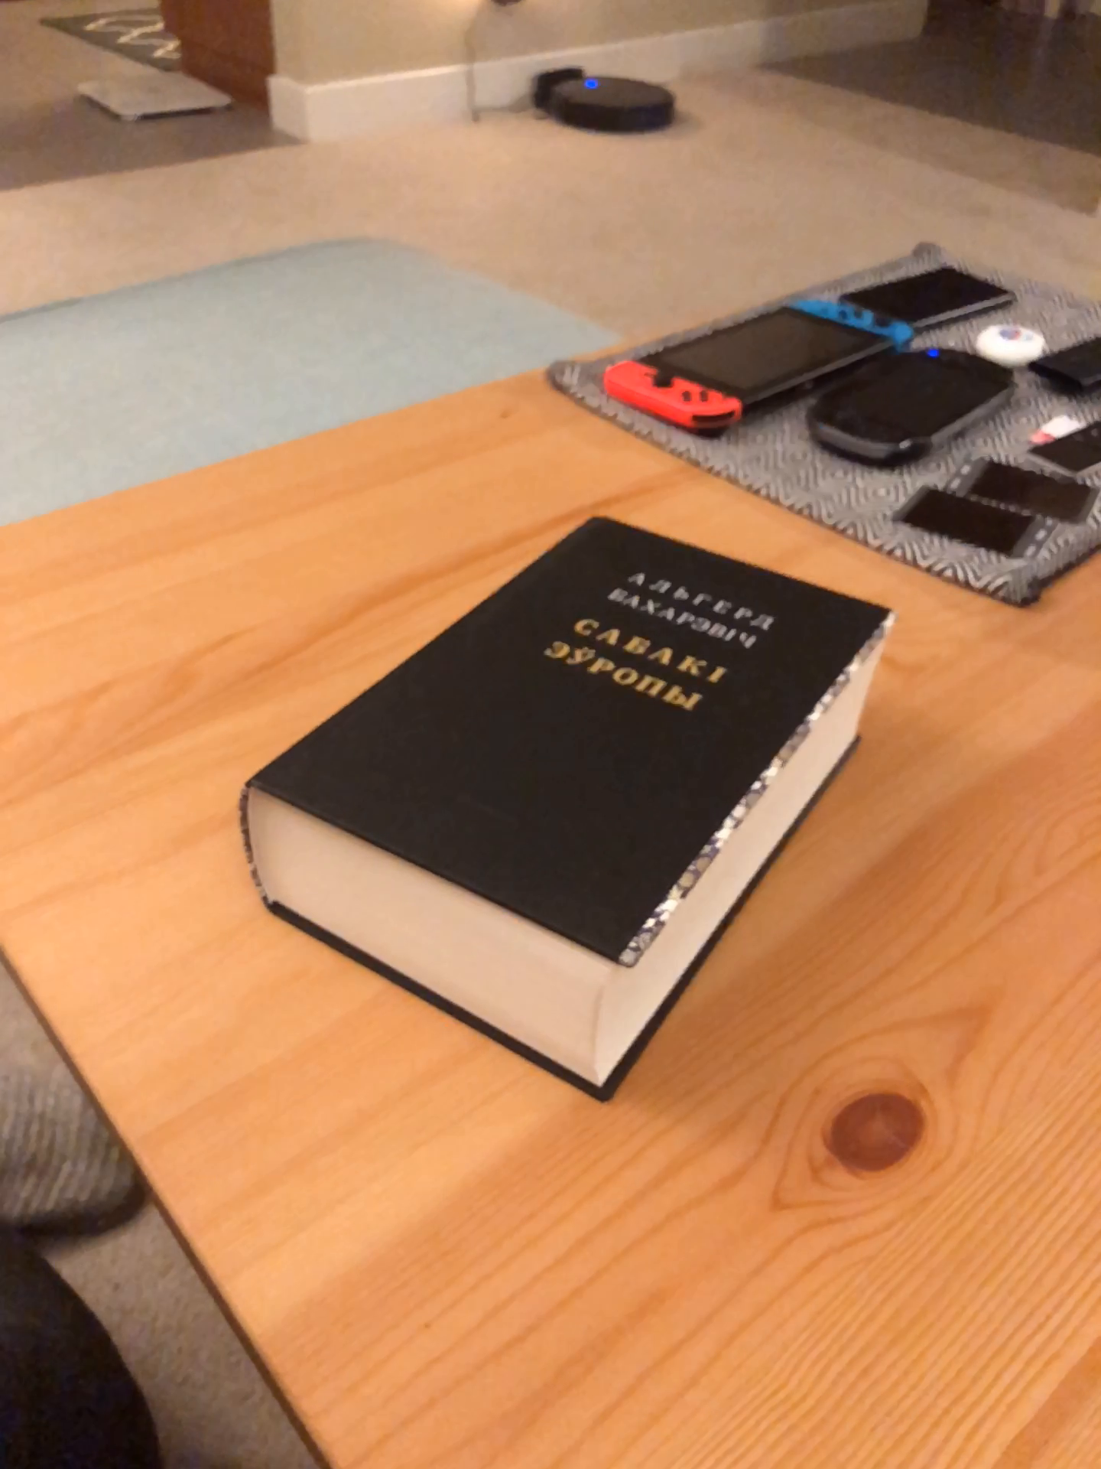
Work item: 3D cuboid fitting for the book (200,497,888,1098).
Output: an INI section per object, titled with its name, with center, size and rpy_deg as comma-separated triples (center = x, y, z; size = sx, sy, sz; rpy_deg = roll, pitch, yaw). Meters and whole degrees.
[book]
center = 0.009, 0.003, 0.477
size = 0.157, 0.061, 0.230
rpy_deg = 22, 44, 25
